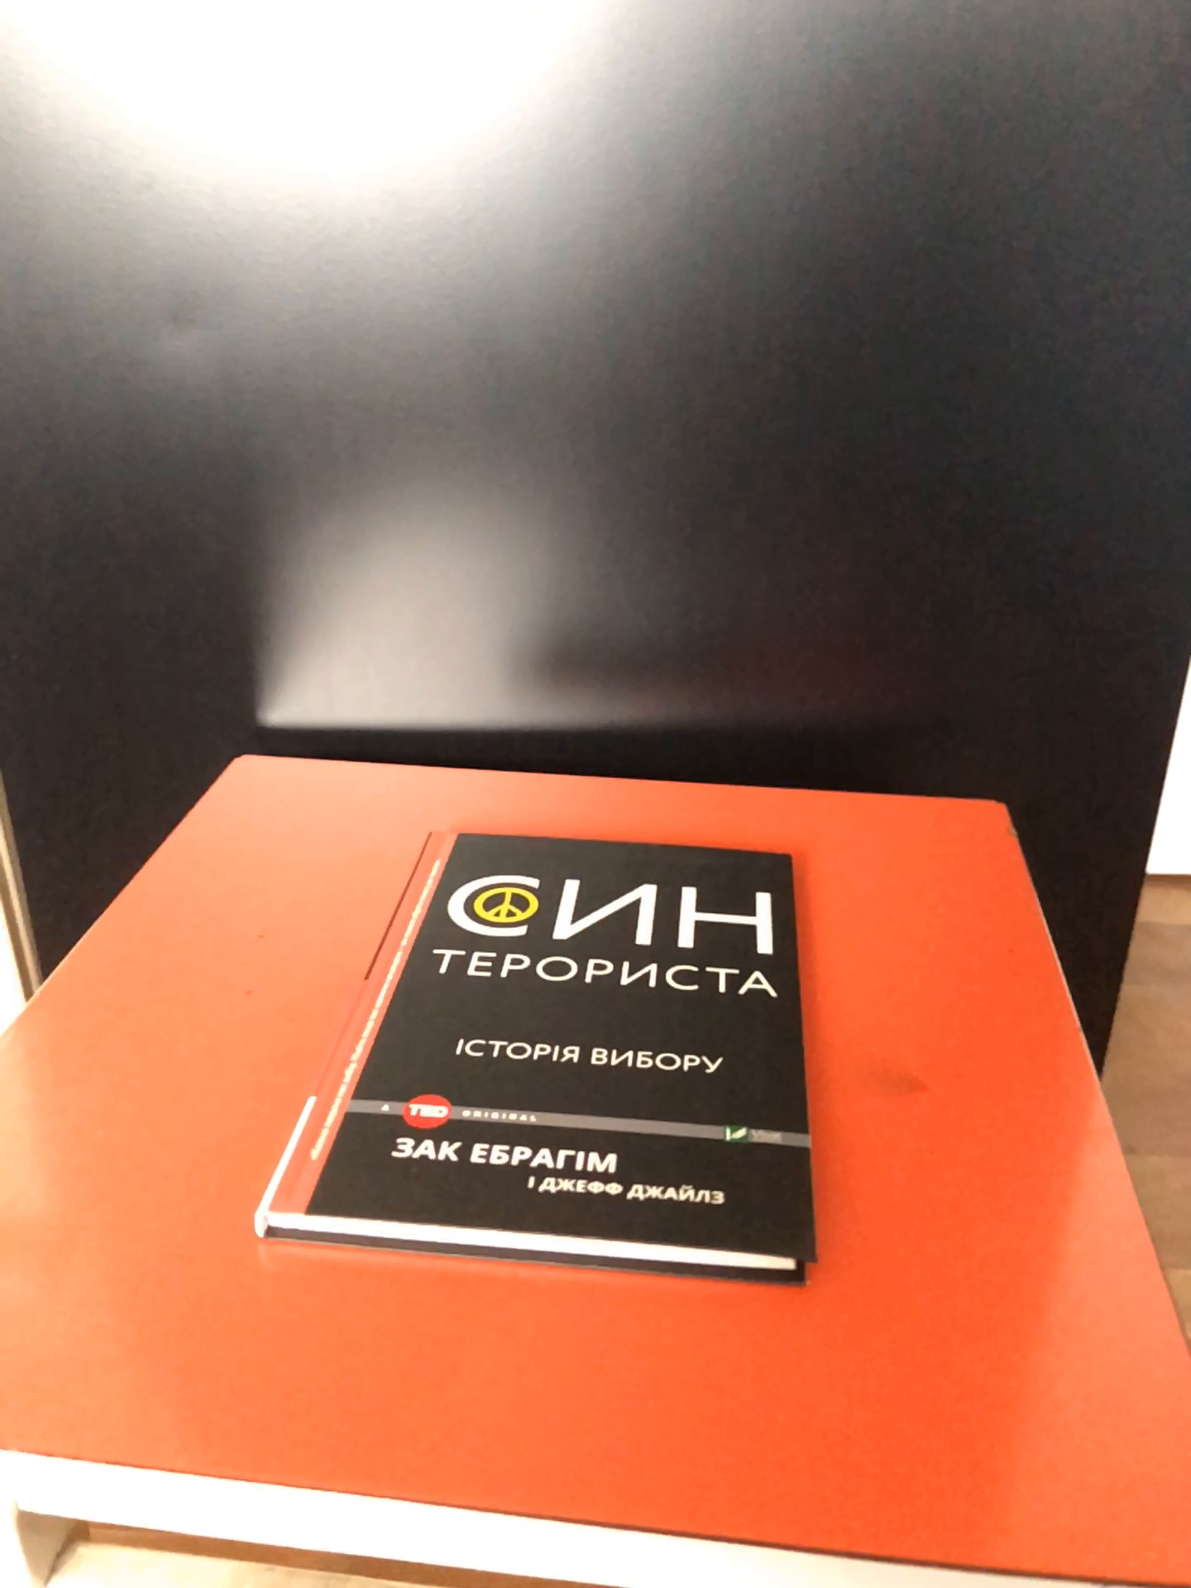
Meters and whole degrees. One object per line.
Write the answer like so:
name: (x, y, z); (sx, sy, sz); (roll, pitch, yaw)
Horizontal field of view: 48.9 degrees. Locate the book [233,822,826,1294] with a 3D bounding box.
book: (-0.007, 0.068, 0.421); (0.150, 0.013, 0.207); (3, 27, 5)
